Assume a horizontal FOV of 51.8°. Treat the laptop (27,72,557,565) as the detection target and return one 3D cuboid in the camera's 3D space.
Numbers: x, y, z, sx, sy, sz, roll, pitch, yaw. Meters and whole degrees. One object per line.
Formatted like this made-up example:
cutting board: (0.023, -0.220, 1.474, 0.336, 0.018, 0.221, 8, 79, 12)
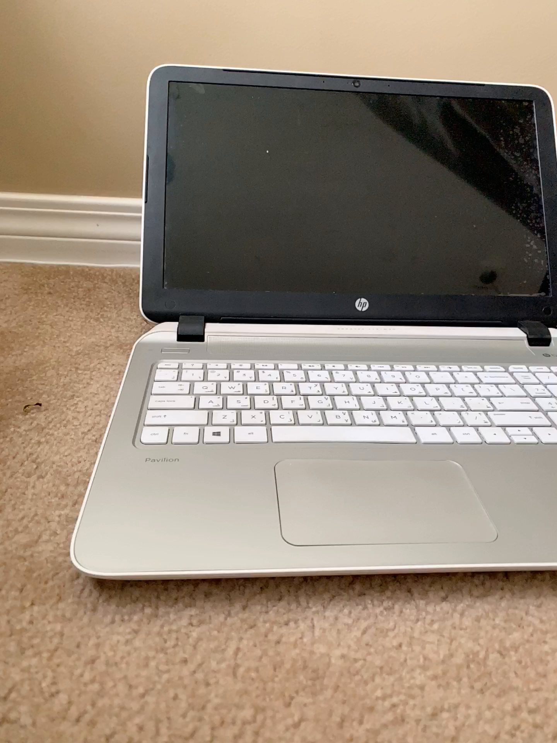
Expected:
laptop: (0.081, -0.080, 0.378, 0.349, 0.187, 0.351, 0, 29, -4)
